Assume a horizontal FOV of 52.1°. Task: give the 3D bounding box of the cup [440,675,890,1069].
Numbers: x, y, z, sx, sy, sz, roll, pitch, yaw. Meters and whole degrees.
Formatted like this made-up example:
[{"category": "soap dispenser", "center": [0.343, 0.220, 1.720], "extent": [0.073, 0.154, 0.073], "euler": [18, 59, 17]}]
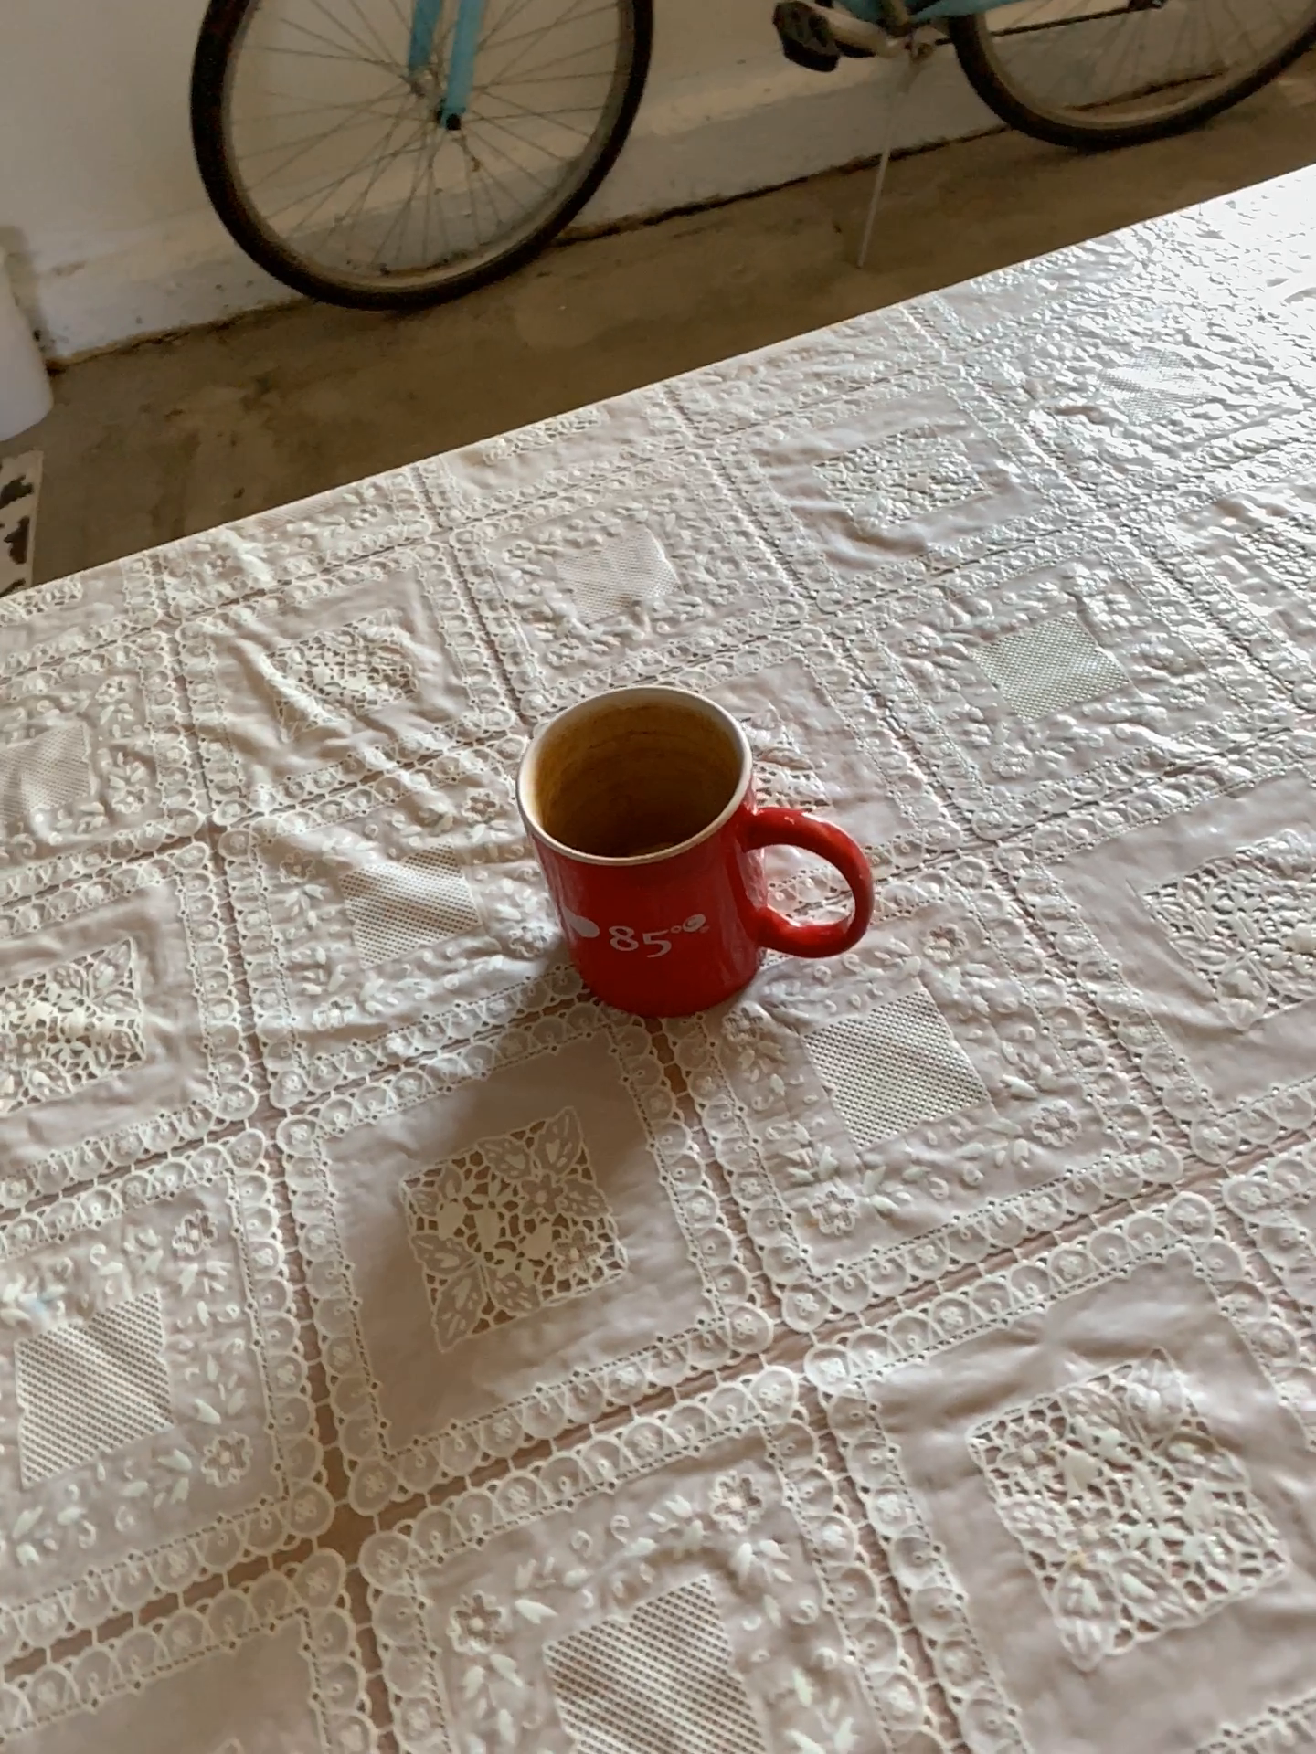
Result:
[{"category": "cup", "center": [0.010, -0.002, 0.471], "extent": [0.130, 0.090, 0.090], "euler": [6, 55, 14]}]
